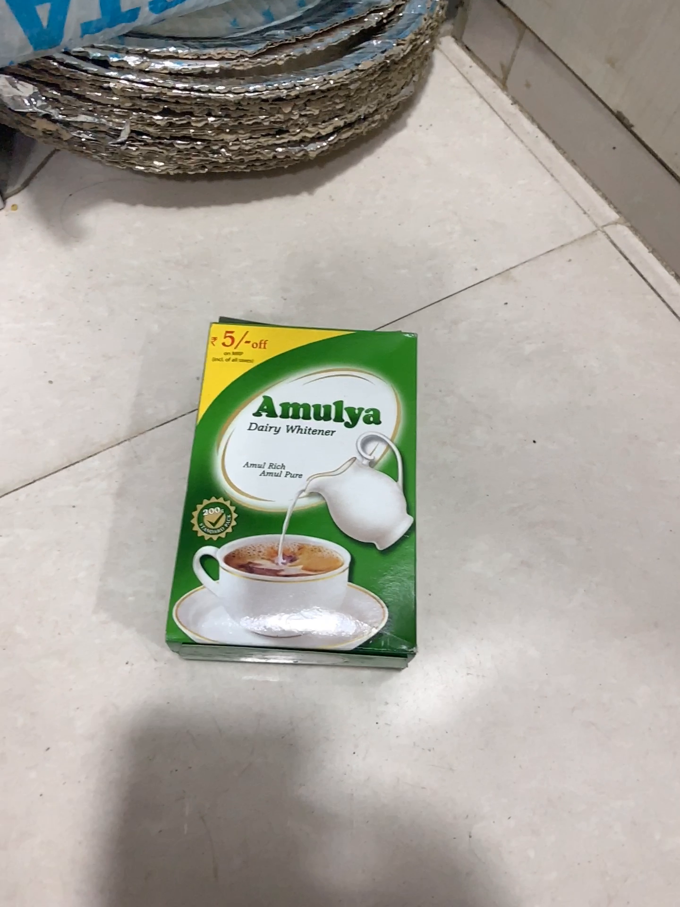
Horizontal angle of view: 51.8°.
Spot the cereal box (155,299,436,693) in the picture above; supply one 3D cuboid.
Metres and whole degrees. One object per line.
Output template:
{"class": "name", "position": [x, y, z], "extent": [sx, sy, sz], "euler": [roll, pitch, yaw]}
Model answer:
{"class": "cereal box", "position": [-0.012, 0.017, 0.282], "extent": [0.090, 0.060, 0.140], "euler": [4, 66, -1]}
